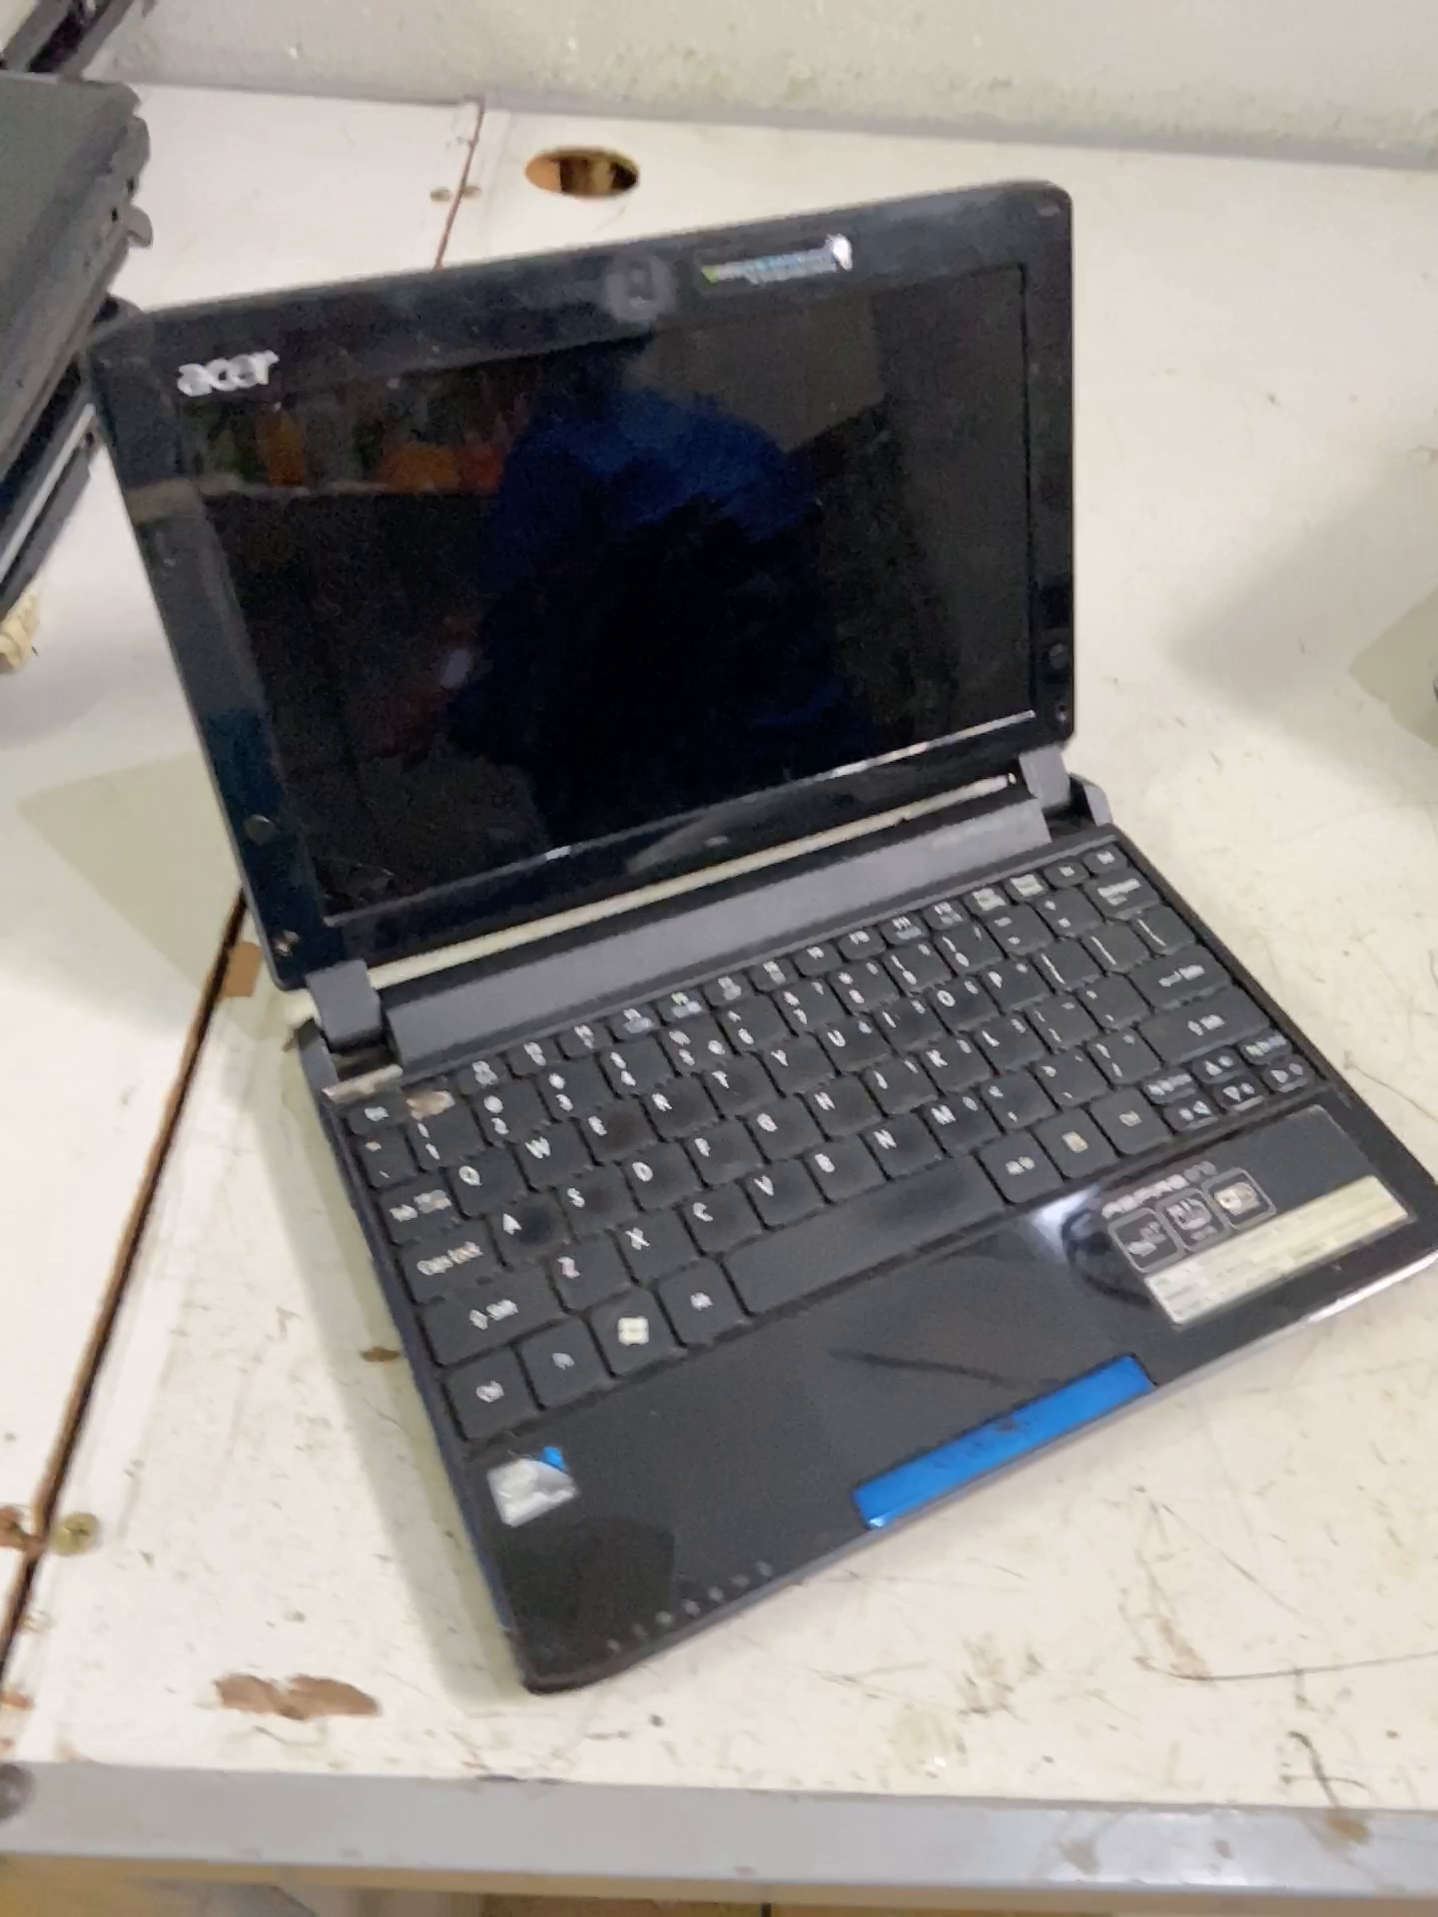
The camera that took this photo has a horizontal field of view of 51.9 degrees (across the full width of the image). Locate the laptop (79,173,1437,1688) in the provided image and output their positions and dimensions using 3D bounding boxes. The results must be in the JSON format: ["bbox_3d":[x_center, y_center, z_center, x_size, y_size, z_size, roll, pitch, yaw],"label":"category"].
[{"bbox_3d":[0.027,-0.034,0.348,0.253,0.144,0.260,-19,56,-18],"label":"laptop"}]
